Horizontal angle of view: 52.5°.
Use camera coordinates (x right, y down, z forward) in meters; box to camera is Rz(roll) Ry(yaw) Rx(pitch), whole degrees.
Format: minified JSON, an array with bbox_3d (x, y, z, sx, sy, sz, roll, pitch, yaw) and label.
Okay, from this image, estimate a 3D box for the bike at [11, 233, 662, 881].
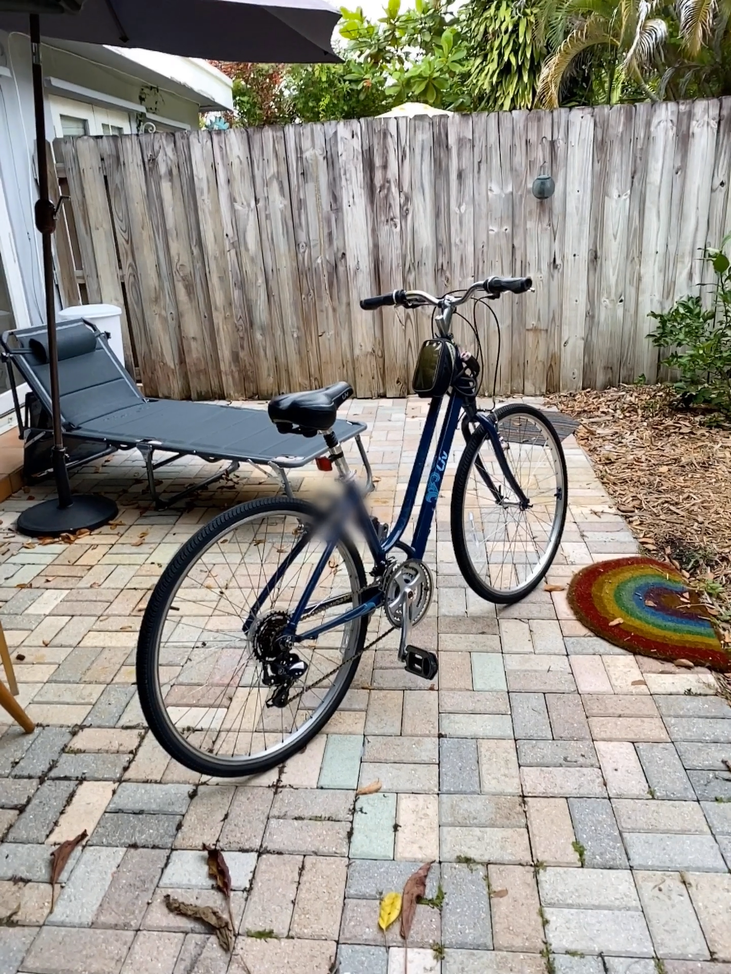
[{"bbox_3d":[0.110,-0.035,2.069,0.596,1.067,1.693,16,30,41],"label":"bike"}]
